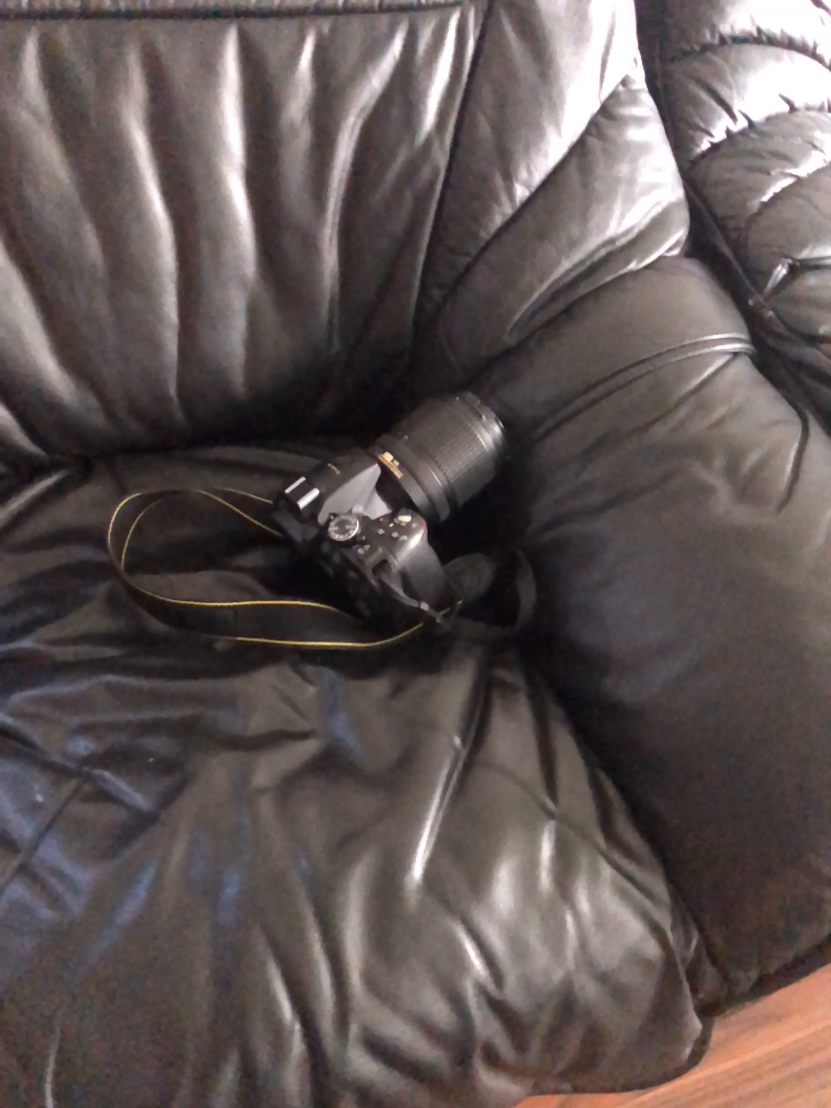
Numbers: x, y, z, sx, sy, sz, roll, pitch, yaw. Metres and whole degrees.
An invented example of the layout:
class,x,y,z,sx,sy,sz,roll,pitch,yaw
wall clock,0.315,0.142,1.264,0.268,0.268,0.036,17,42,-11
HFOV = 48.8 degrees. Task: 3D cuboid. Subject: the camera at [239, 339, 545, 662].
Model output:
class,x,y,z,sx,sy,sz,roll,pitch,yaw
camera,-0.012,-0.043,0.723,0.170,0.130,0.140,-40,57,-15
